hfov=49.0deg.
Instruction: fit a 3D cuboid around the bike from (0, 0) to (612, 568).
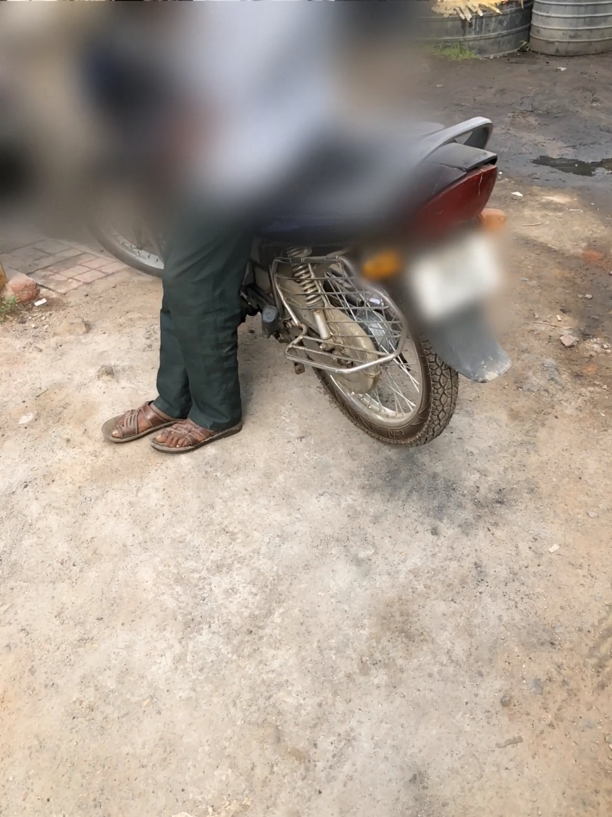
[{"bbox_3d":[-0.293,-0.649,1.941,0.787,1.154,1.803,-30,45,-30],"label":"bike"}]
